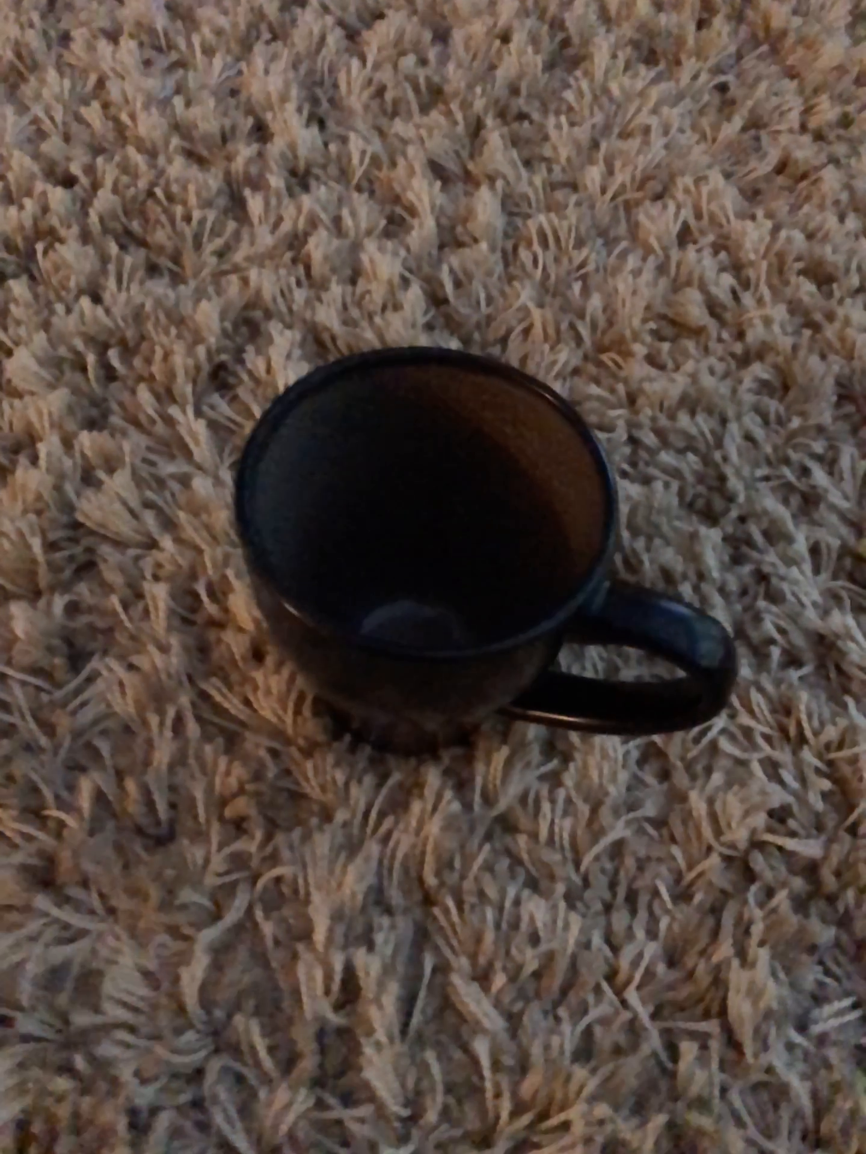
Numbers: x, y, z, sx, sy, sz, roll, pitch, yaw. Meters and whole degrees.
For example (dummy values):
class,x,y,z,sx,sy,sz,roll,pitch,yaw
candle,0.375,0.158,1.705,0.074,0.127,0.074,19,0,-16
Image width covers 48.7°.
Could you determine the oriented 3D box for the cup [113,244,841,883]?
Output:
class,x,y,z,sx,sy,sz,roll,pitch,yaw
cup,0.011,-0.003,0.255,0.140,0.090,0.090,24,62,12
